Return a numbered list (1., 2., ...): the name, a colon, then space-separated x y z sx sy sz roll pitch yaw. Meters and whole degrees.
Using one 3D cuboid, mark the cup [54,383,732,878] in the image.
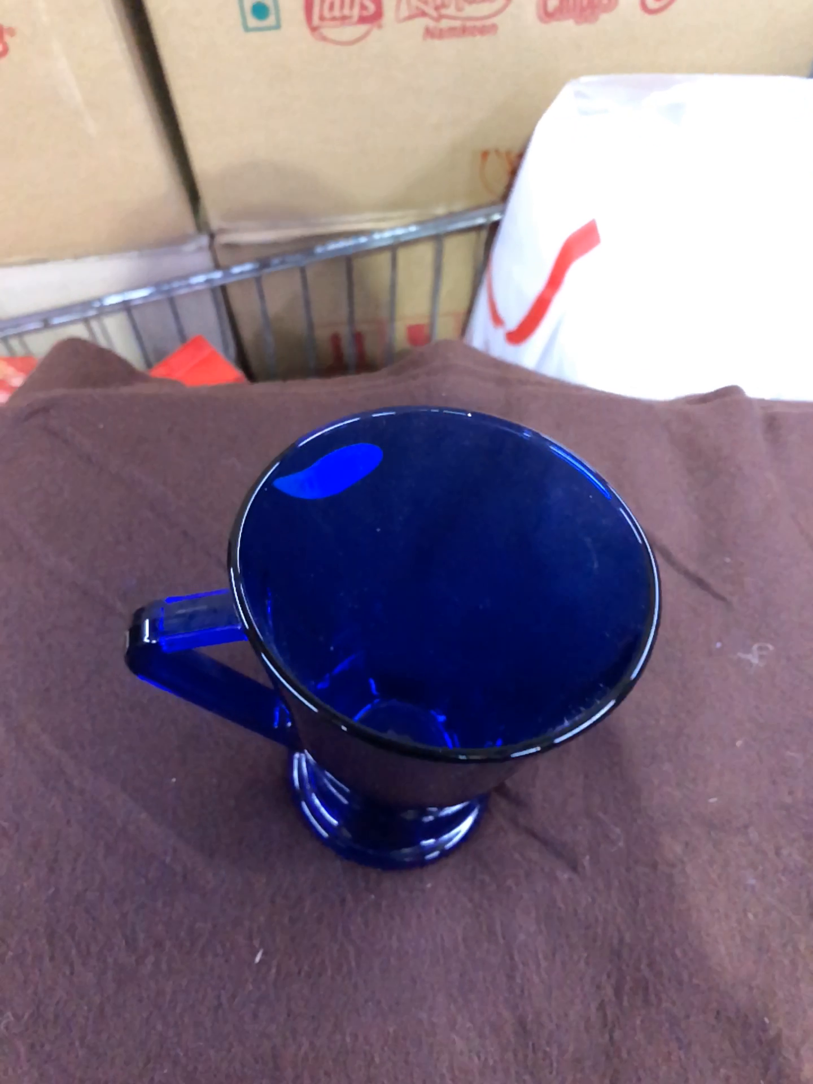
1. cup: -0.005 0.030 0.213 0.110 0.110 0.070 4 61 -4
